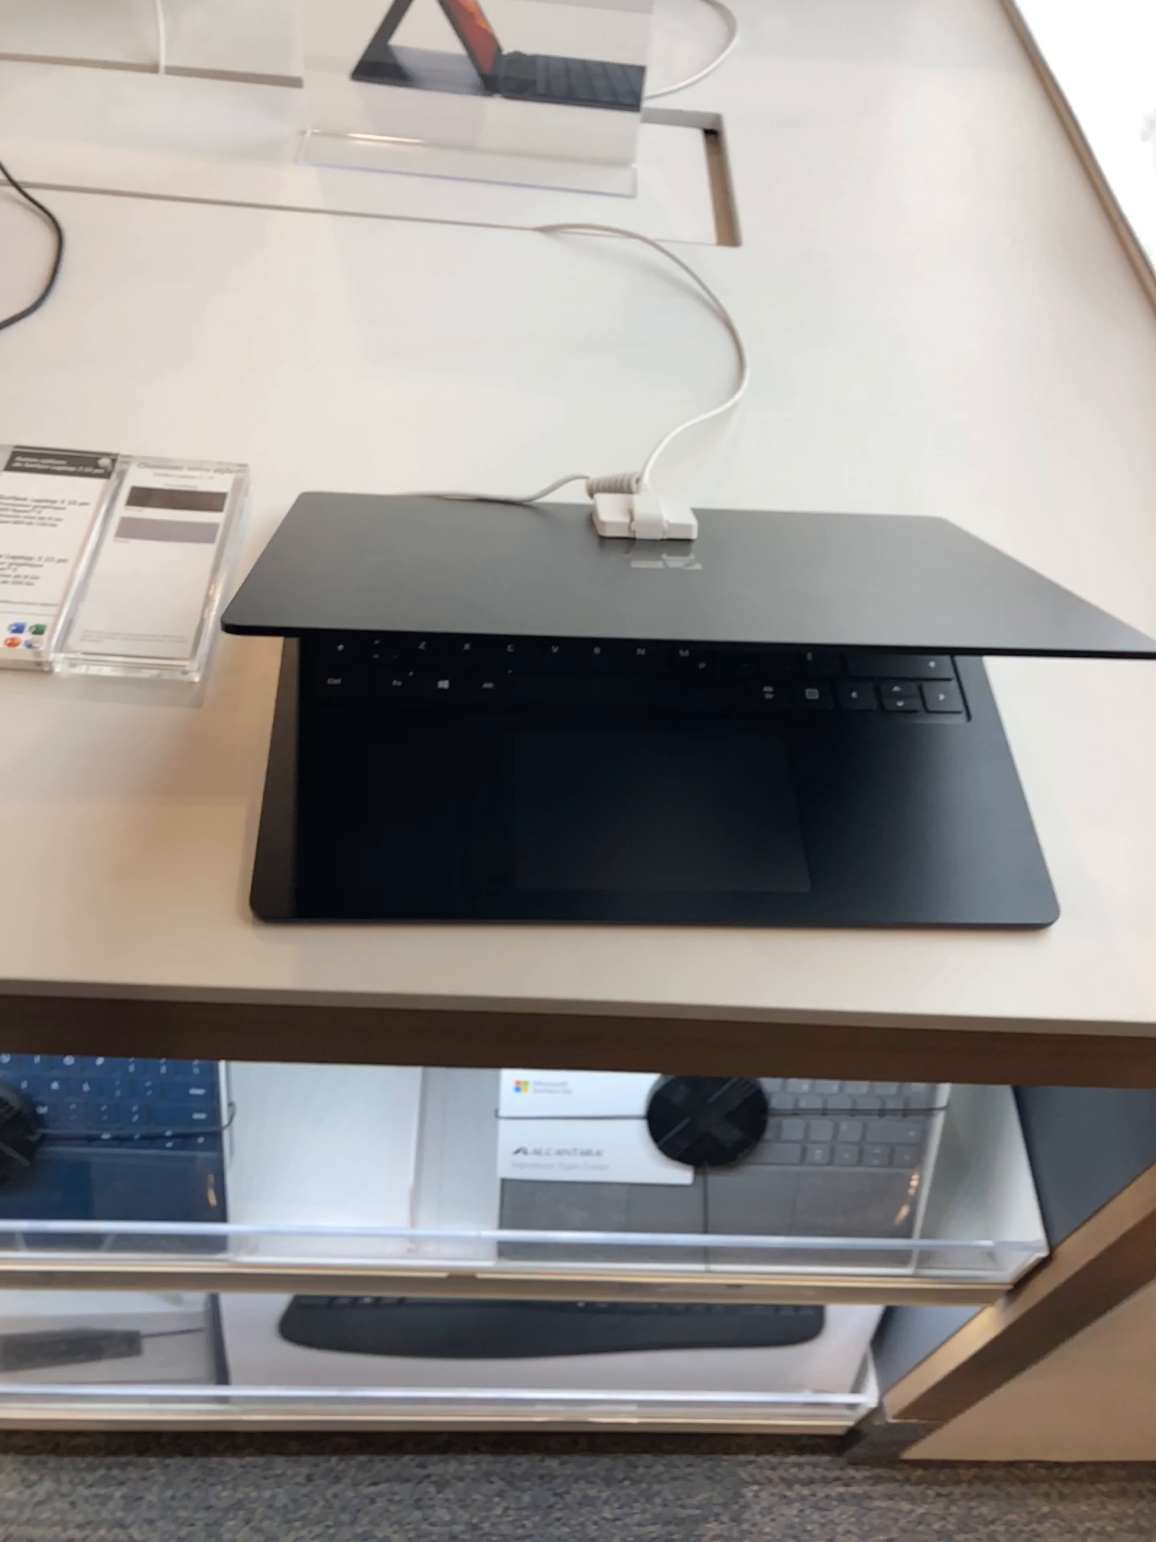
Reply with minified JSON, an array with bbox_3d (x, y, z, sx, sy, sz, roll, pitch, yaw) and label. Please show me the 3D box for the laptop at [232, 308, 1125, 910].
[{"bbox_3d":[0.032,-0.061,0.480,0.284,0.086,0.191,1,59,-7],"label":"laptop"}]
